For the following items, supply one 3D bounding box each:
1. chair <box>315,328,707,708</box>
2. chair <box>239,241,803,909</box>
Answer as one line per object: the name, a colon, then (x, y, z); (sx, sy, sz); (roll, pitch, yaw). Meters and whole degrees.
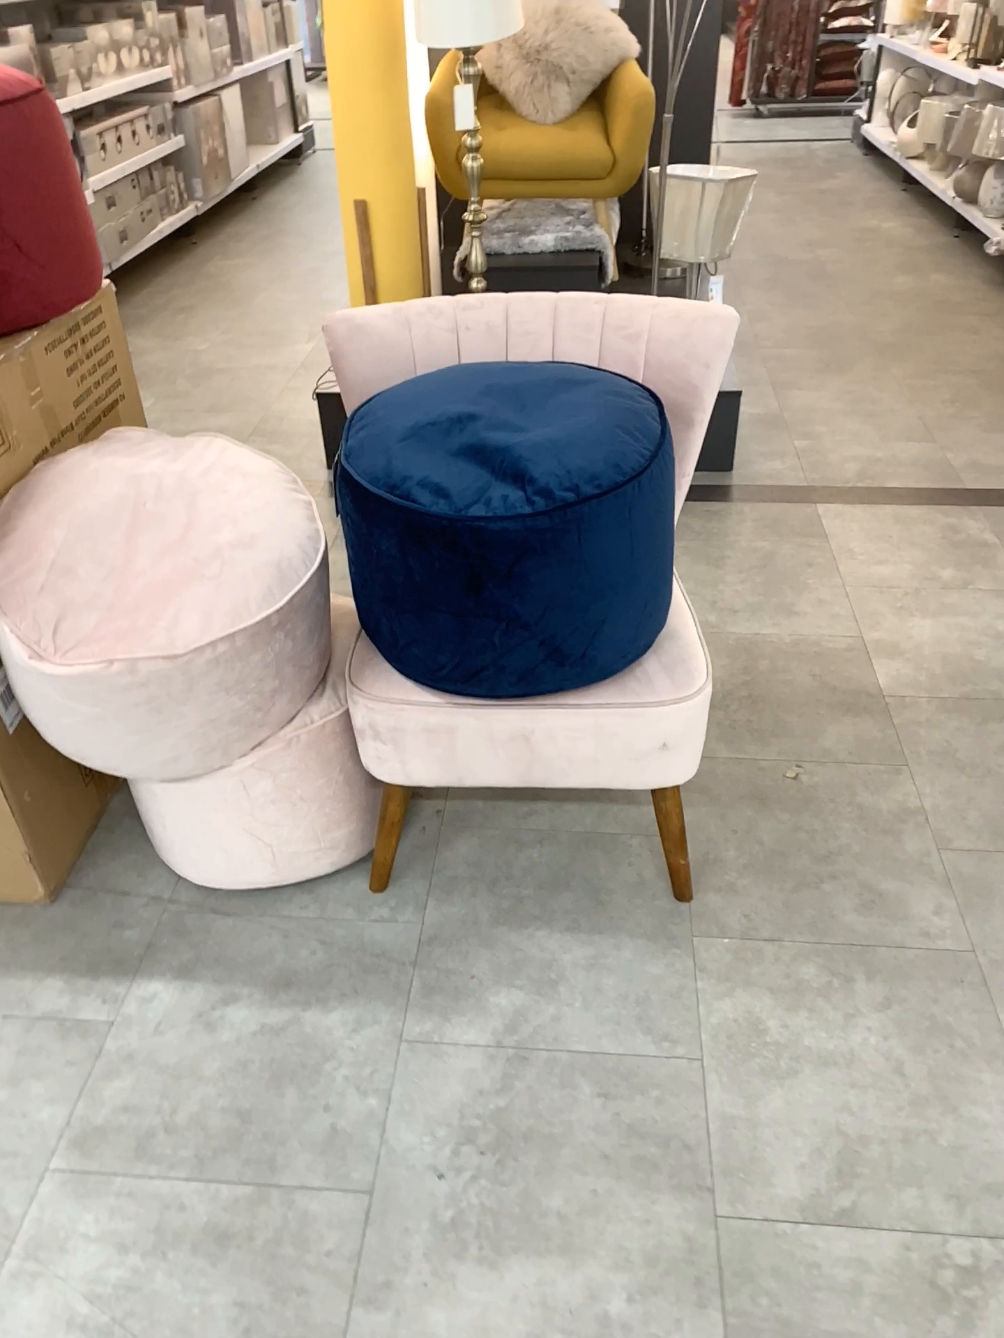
chair: (0.038, -0.252, 1.541); (0.475, 0.363, 0.509); (2, 35, 6)
chair: (0.050, -0.182, 1.730); (0.655, 0.848, 0.751); (1, 35, 4)
